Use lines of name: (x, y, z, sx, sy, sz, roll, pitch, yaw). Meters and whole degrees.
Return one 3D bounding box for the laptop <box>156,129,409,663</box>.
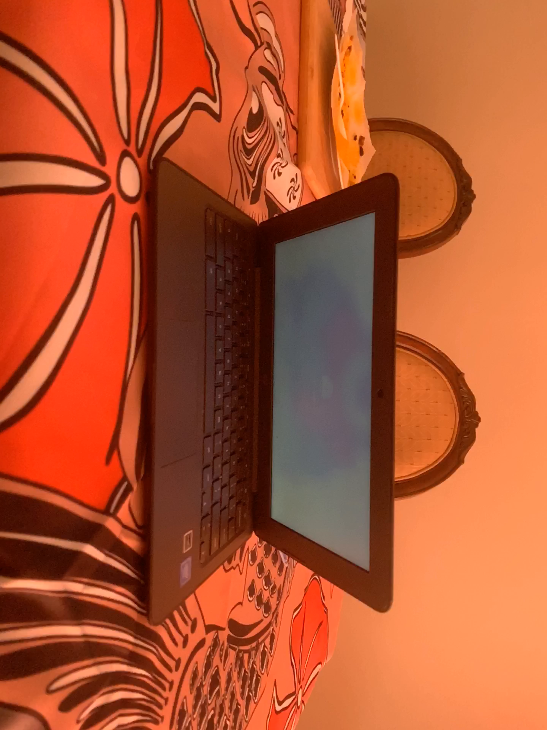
laptop: (0.025, 0.017, 0.435, 0.212, 0.144, 0.299, -4, 95, -75)
